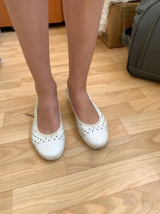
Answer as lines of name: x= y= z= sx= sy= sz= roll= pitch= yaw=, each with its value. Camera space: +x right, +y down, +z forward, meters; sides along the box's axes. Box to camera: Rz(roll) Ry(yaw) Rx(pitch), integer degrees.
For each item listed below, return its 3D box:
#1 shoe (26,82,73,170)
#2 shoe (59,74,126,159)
shoe: x=-0.099 y=0.035 z=0.492 sx=0.100 sy=0.070 sz=0.271 roll=-10 pitch=43 yaw=-8
shoe: x=0.018 y=0.006 z=0.490 sx=0.090 sy=0.070 sz=0.271 roll=-16 pitch=44 yaw=-13
